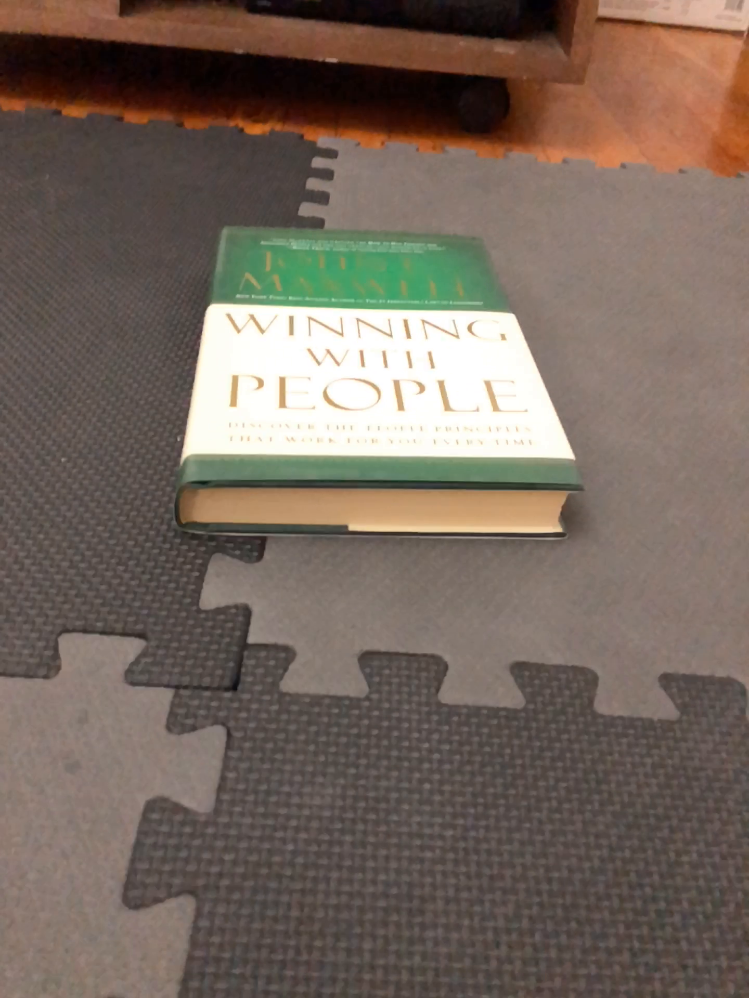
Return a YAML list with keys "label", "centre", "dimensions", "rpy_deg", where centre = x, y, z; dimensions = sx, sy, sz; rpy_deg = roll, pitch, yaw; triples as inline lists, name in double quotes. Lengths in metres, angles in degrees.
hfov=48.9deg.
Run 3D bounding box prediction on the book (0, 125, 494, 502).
- label: "book"
  centre: [-0.068, -0.107, 0.376]
  dimensions: [0.200, 0.030, 0.292]
  rpy_deg: [2, 39, -4]
